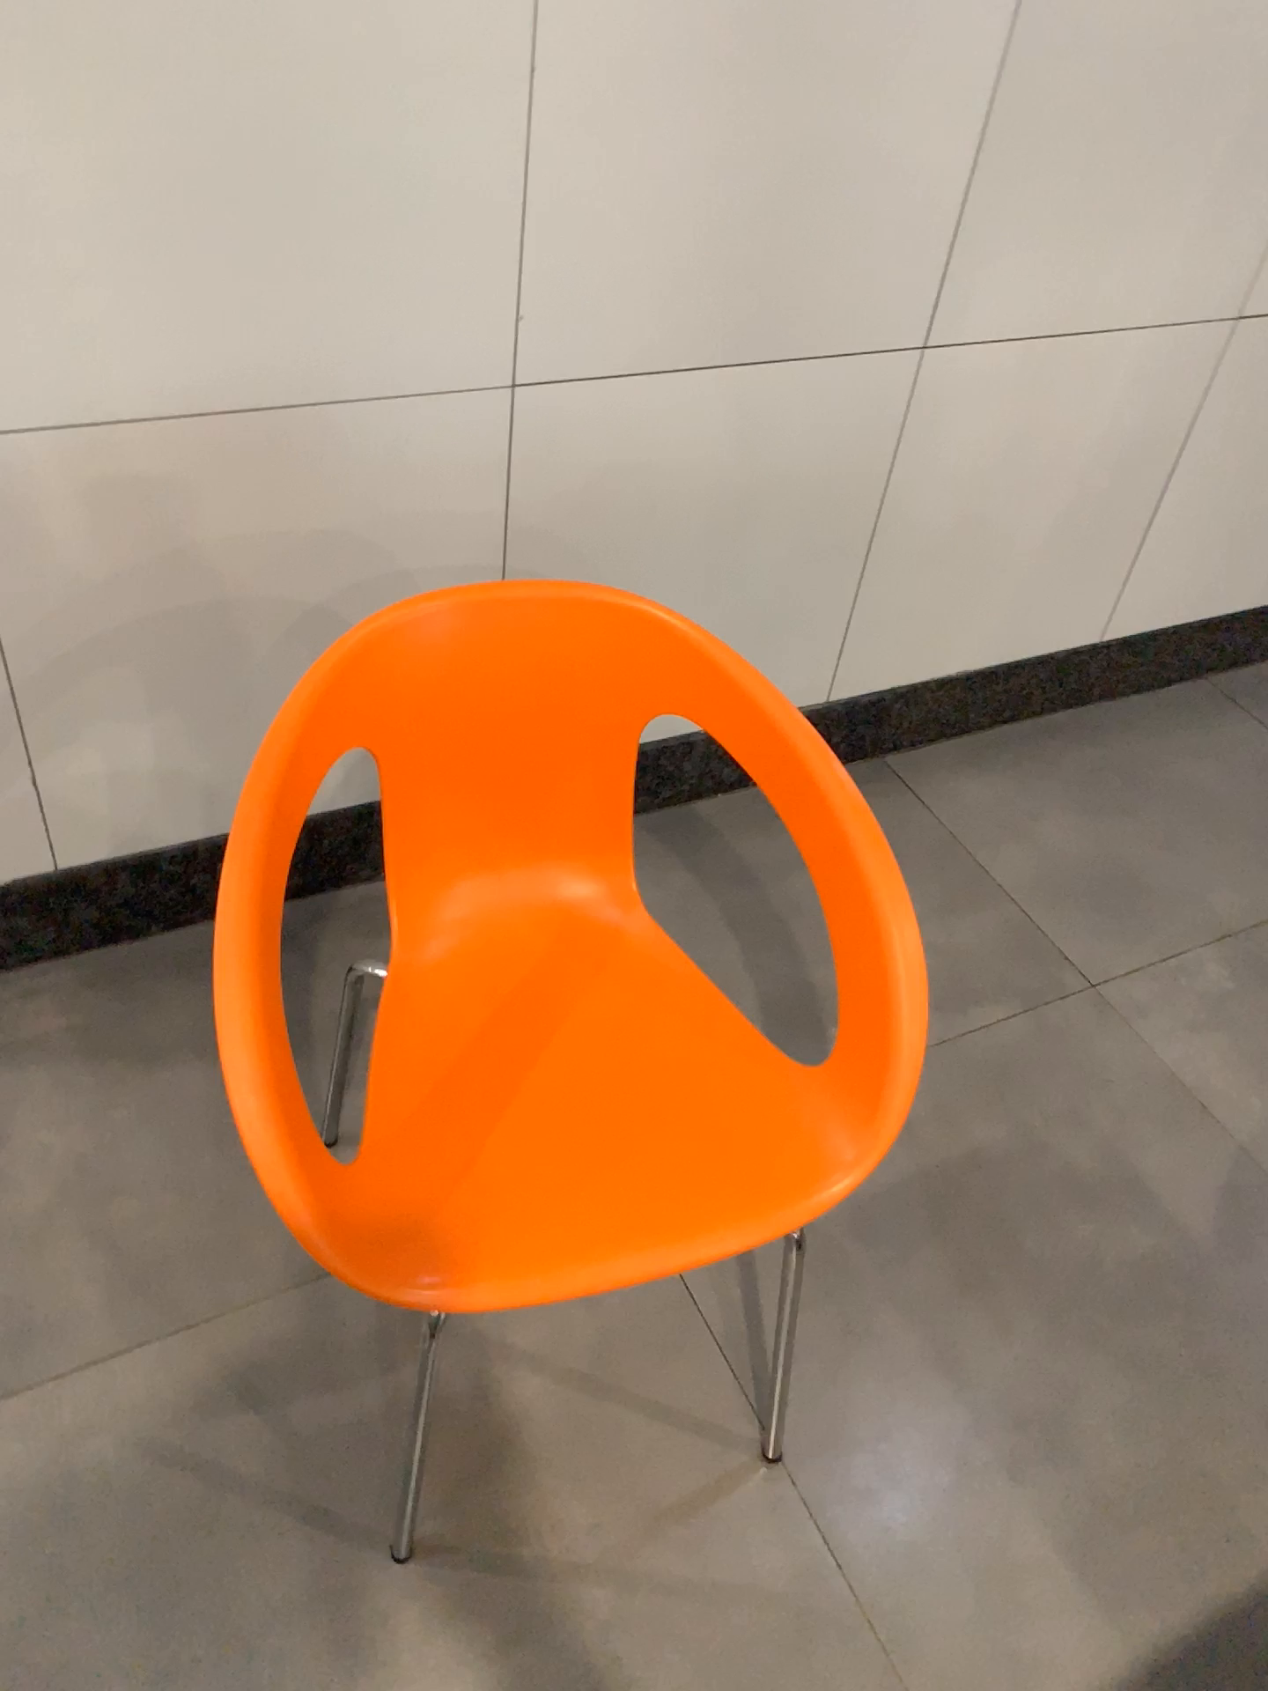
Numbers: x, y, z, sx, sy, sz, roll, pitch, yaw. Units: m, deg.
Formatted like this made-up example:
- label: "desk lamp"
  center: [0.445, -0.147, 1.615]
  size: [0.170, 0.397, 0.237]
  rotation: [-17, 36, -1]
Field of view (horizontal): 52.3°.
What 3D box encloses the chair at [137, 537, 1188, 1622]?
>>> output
- label: "chair"
  center: [-0.070, 0.180, 1.224]
  size: [0.660, 0.664, 0.645]
  rotation: [-6, 44, -17]
